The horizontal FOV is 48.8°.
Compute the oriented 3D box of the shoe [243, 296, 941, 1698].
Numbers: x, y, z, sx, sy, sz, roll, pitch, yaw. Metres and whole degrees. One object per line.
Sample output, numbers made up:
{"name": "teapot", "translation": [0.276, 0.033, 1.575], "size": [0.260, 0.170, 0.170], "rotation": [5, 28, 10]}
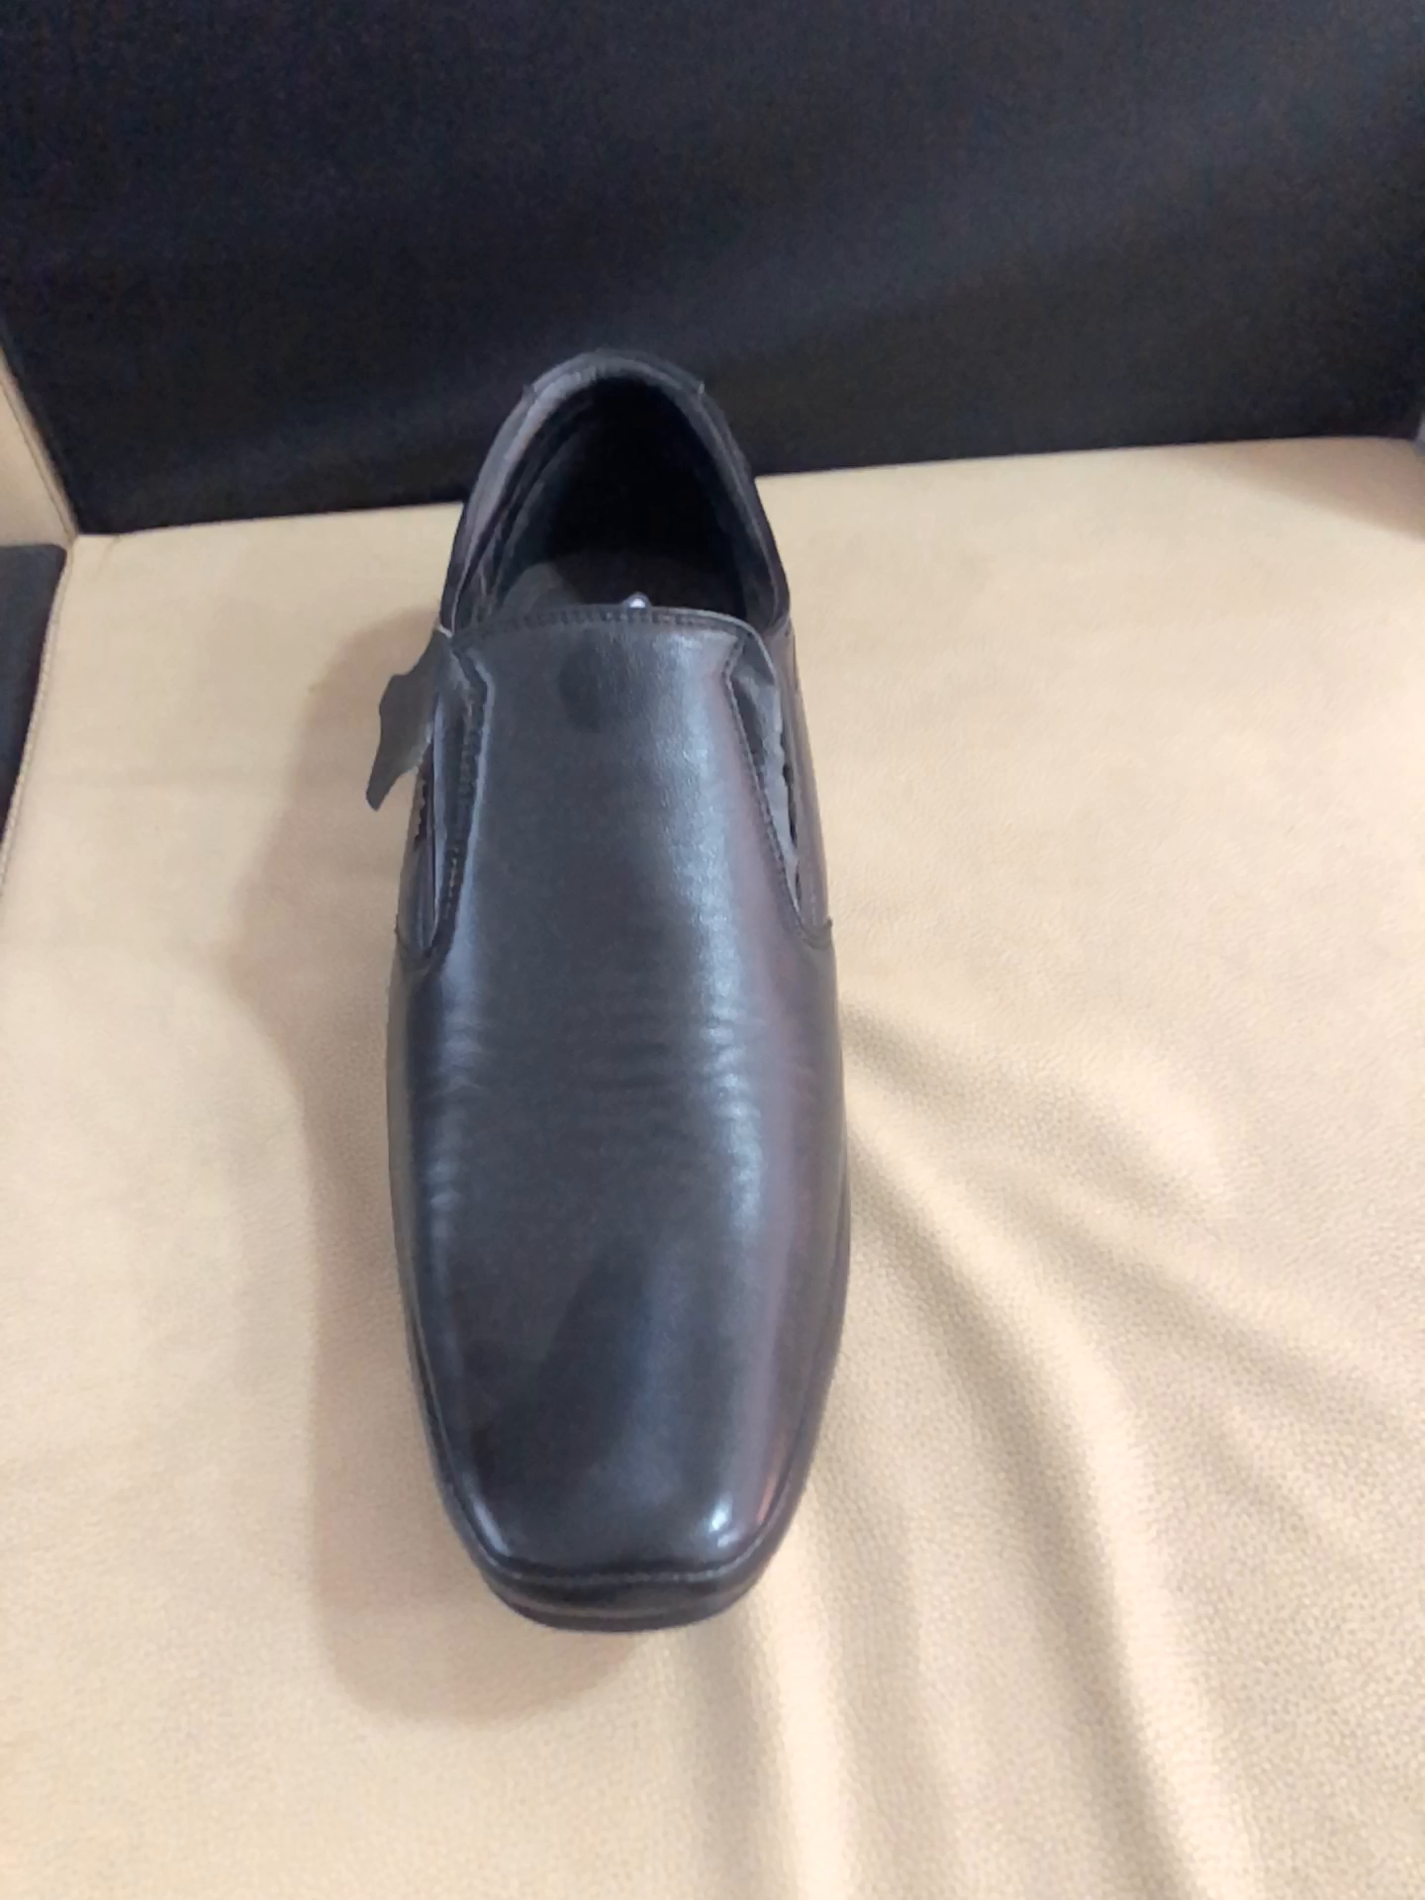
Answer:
{"name": "shoe", "translation": [-0.023, -0.017, 0.358], "size": [0.100, 0.090, 0.321], "rotation": [-4, 53, 0]}
